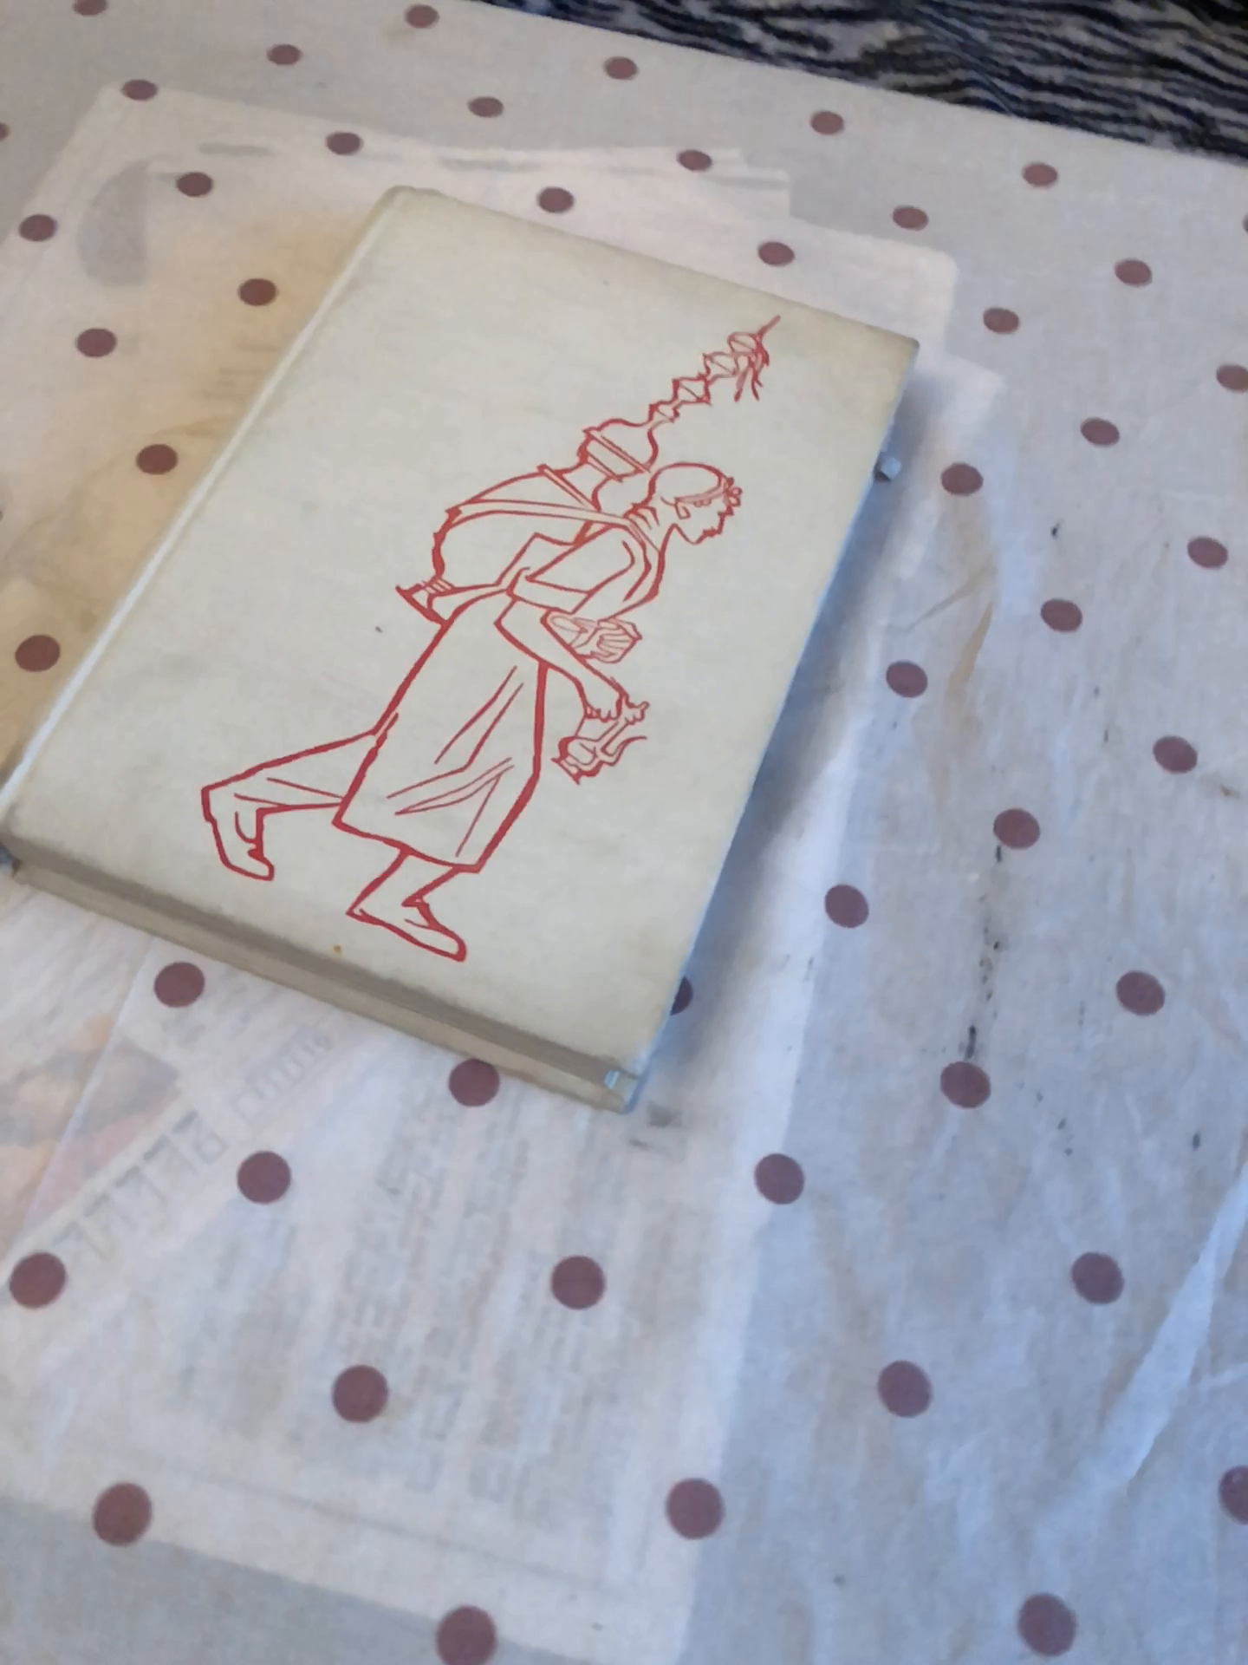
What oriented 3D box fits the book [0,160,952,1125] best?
[{"bbox_3d":[-0.028,-0.067,0.382,0.174,0.050,0.241,19,64,7],"label":"book"}]
